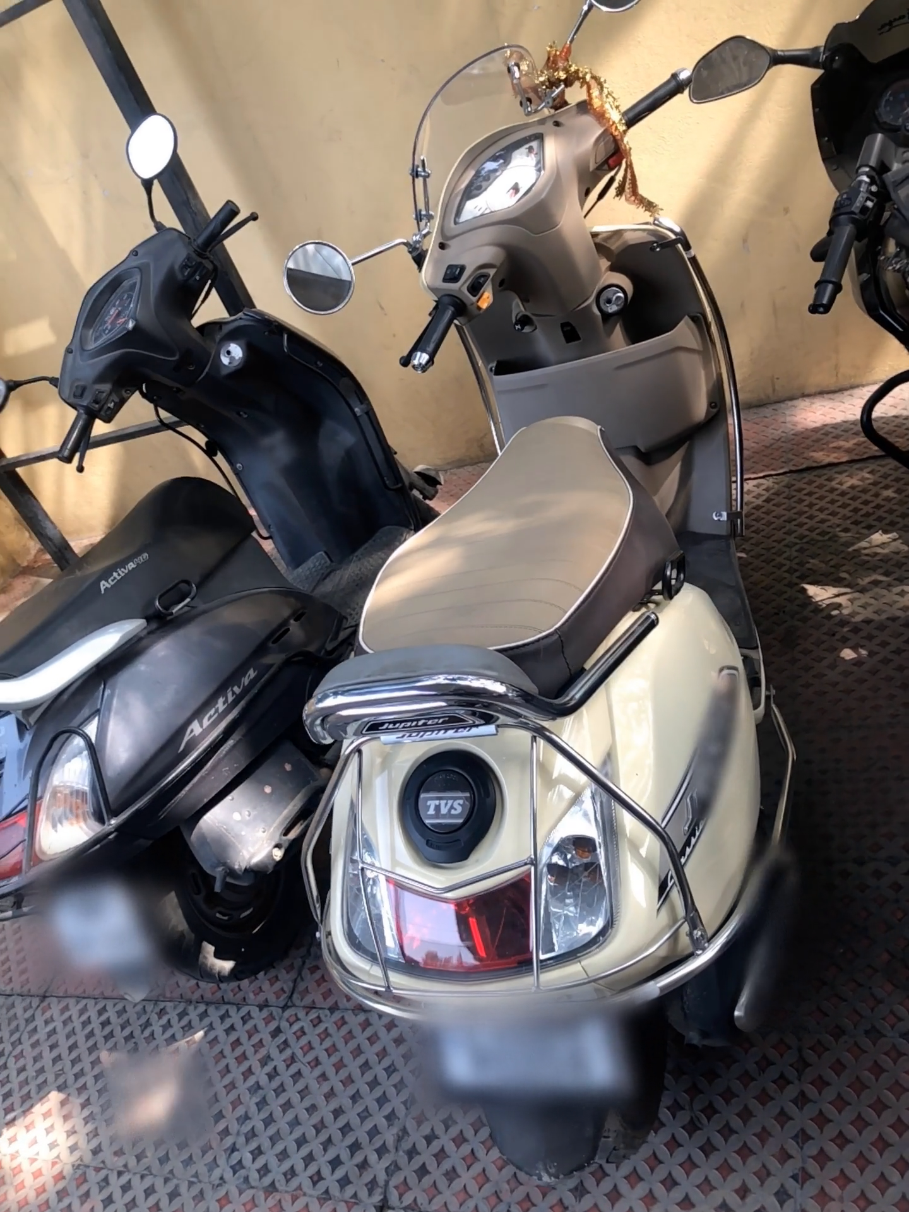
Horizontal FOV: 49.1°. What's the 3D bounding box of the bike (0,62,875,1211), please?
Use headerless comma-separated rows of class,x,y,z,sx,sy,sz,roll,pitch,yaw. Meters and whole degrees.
bike,0.113,-0.113,1.668,0.644,0.999,1.634,-13,35,19
